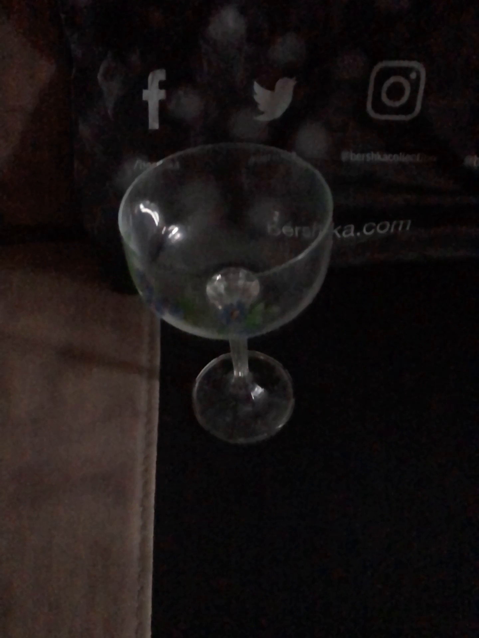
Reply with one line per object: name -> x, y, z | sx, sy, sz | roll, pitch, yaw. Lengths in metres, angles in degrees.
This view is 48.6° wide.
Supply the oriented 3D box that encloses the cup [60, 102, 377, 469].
cup -> -0.004, -0.009, 0.266 | 0.096, 0.147, 0.085 | 21, 57, 16
